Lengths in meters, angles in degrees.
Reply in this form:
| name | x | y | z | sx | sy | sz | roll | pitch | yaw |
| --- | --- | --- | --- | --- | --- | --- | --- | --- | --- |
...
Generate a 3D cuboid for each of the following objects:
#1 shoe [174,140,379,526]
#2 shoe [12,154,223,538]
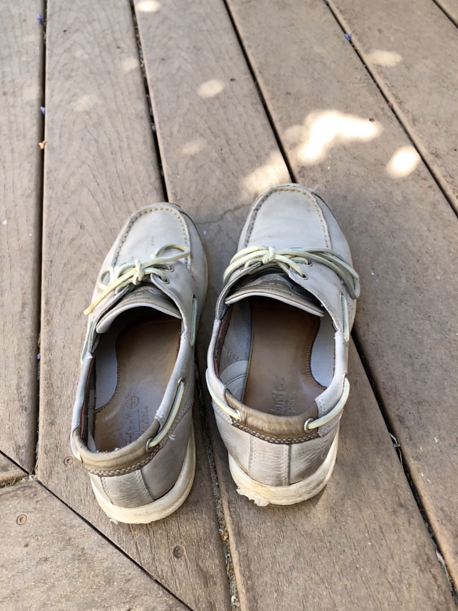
| name | x | y | z | sx | sy | sz | roll | pitch | yaw |
| --- | --- | --- | --- | --- | --- | --- | --- | --- | --- |
| shoe | 0.049 | 0.003 | 0.426 | 0.121 | 0.097 | 0.312 | 2 | 56 | 9 |
| shoe | -0.077 | 0.017 | 0.433 | 0.119 | 0.096 | 0.311 | -6 | 55 | 3 |
